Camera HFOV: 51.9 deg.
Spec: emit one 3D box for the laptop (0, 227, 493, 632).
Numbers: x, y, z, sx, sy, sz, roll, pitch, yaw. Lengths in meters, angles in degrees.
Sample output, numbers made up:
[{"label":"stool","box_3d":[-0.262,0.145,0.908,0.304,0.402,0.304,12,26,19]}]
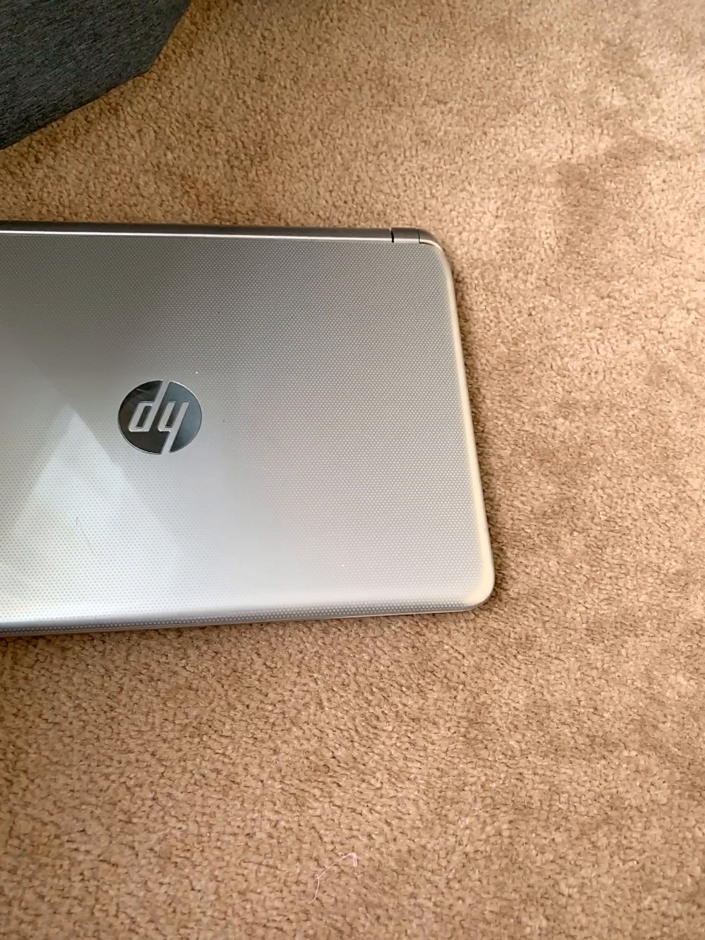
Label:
[{"label":"laptop","box_3d":[-0.102,-0.034,0.384,0.328,0.002,0.223,-1,68,-7]}]
